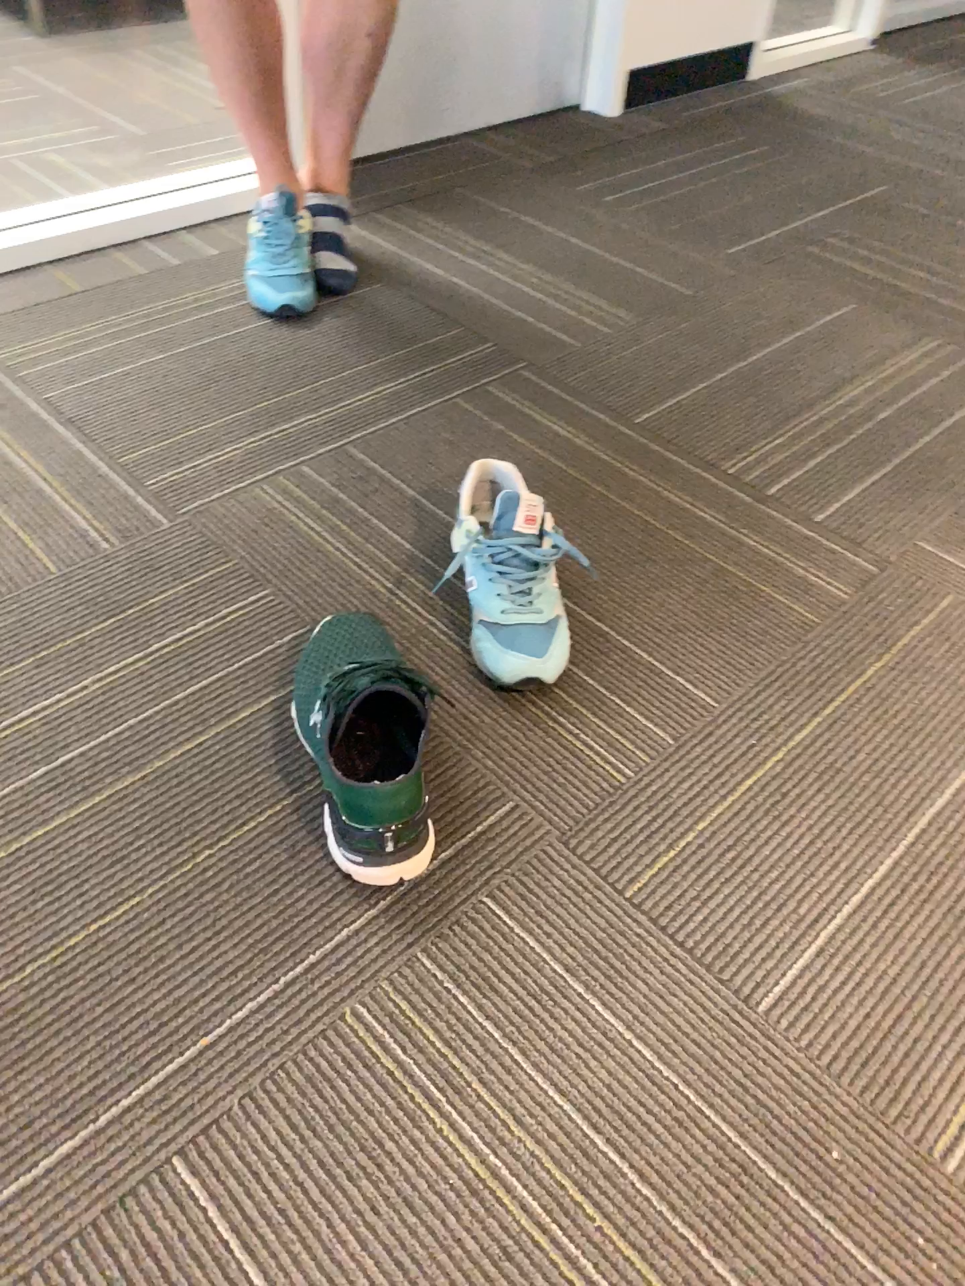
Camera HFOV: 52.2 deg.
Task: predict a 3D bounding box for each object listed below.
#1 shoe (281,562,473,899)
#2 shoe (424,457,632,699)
[{"bbox_3d":[-0.107,0.065,0.917,0.140,0.089,0.322,-4,45,-10],"label":"shoe"},{"bbox_3d":[0.035,-0.078,1.036,0.170,0.089,0.282,-2,44,-7],"label":"shoe"}]
